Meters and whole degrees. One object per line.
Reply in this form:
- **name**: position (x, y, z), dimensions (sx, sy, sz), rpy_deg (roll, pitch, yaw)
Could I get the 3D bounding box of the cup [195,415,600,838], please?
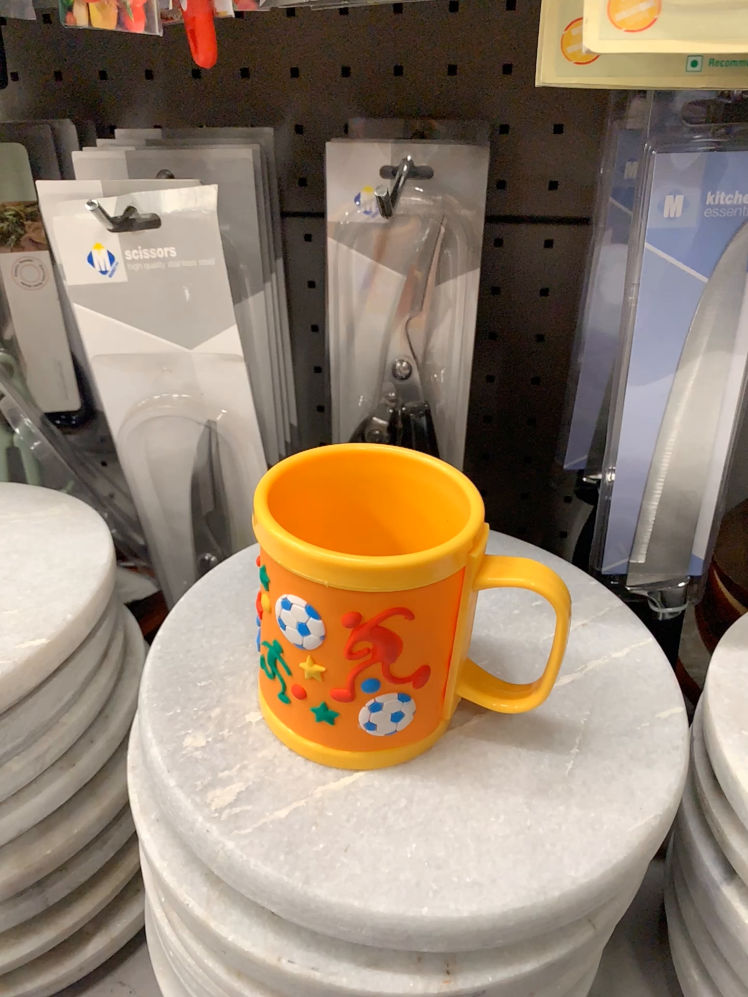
- **cup**: position (0.013, 0.038, 0.267), dimensions (0.110, 0.100, 0.080), rpy_deg (7, 32, 15)
